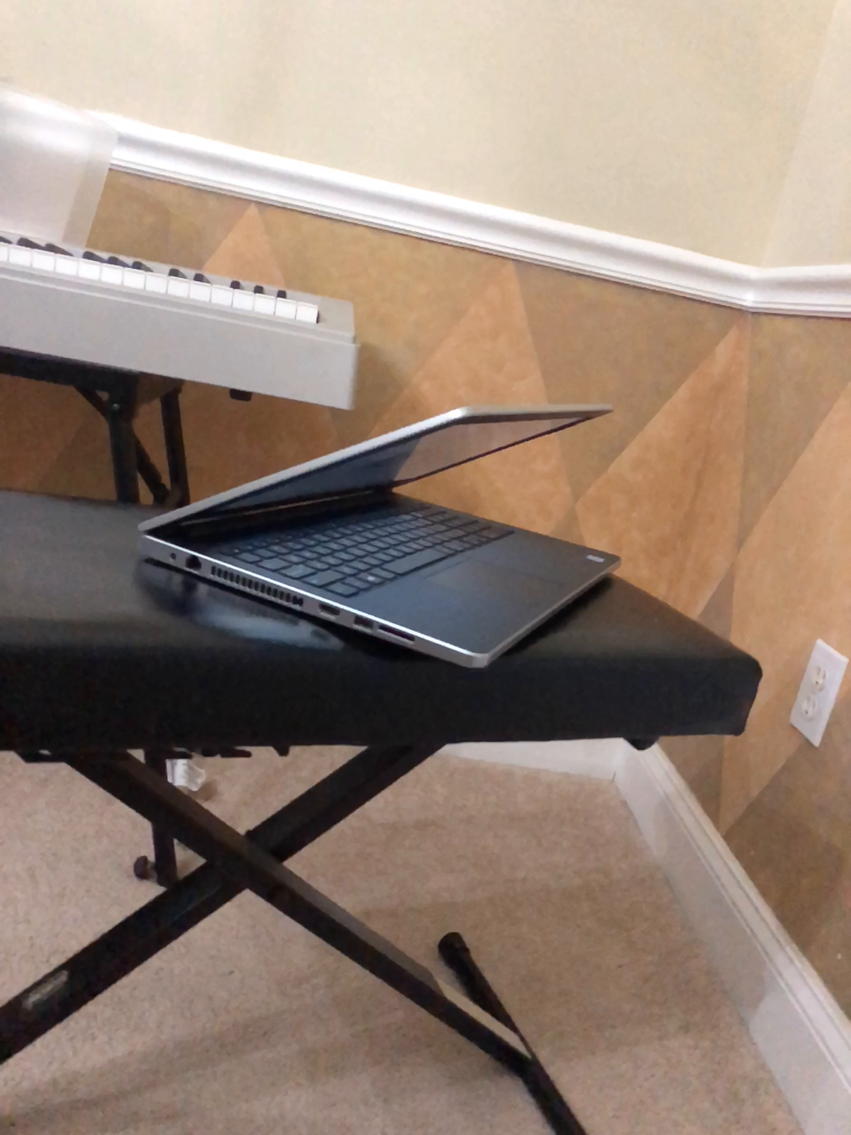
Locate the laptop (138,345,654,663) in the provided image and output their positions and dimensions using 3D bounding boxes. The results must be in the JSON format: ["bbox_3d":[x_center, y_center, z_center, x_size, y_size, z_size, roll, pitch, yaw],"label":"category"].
[{"bbox_3d":[0.008,-0.075,0.751,0.256,0.132,0.377,19,17,20],"label":"laptop"}]
